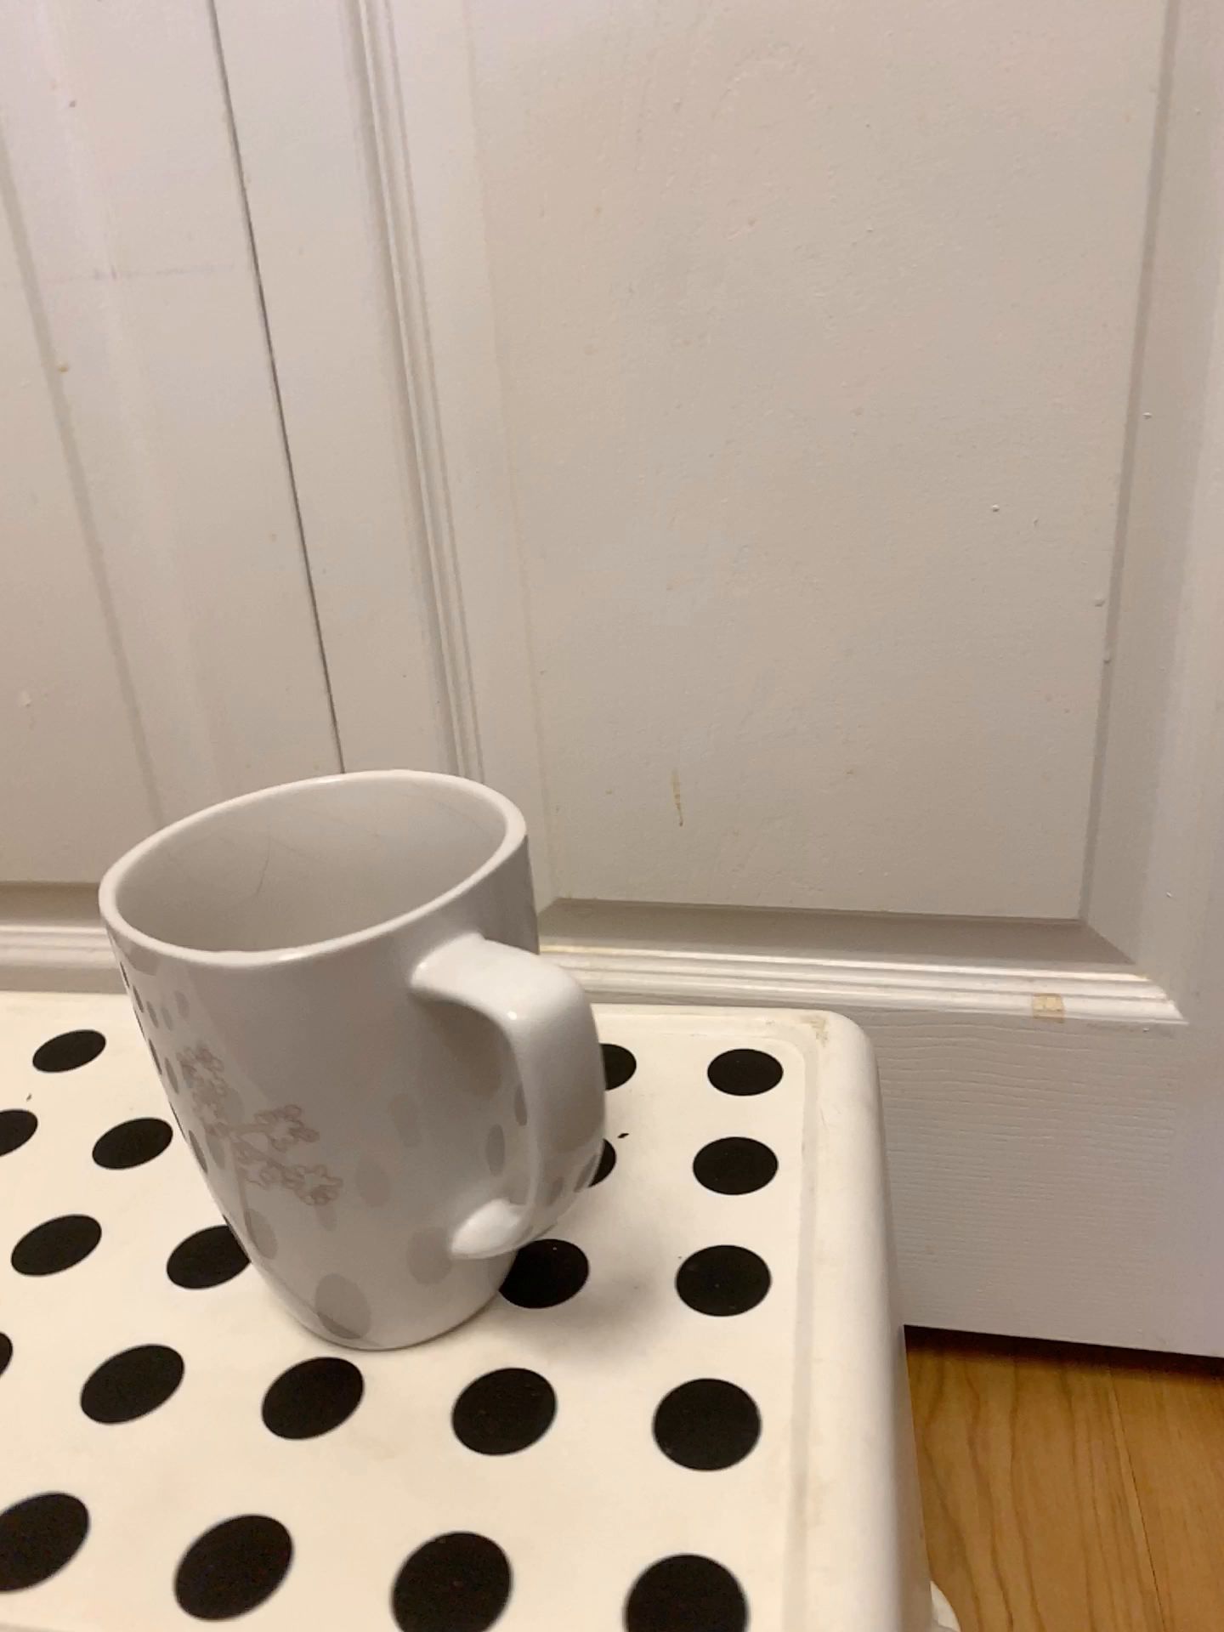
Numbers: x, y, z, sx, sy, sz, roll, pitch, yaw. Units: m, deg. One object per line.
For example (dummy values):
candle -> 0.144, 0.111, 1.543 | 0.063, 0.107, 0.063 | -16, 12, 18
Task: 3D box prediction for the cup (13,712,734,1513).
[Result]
cup -> -0.046, 0.050, 0.263 | 0.120, 0.109, 0.070 | 14, 30, 35
